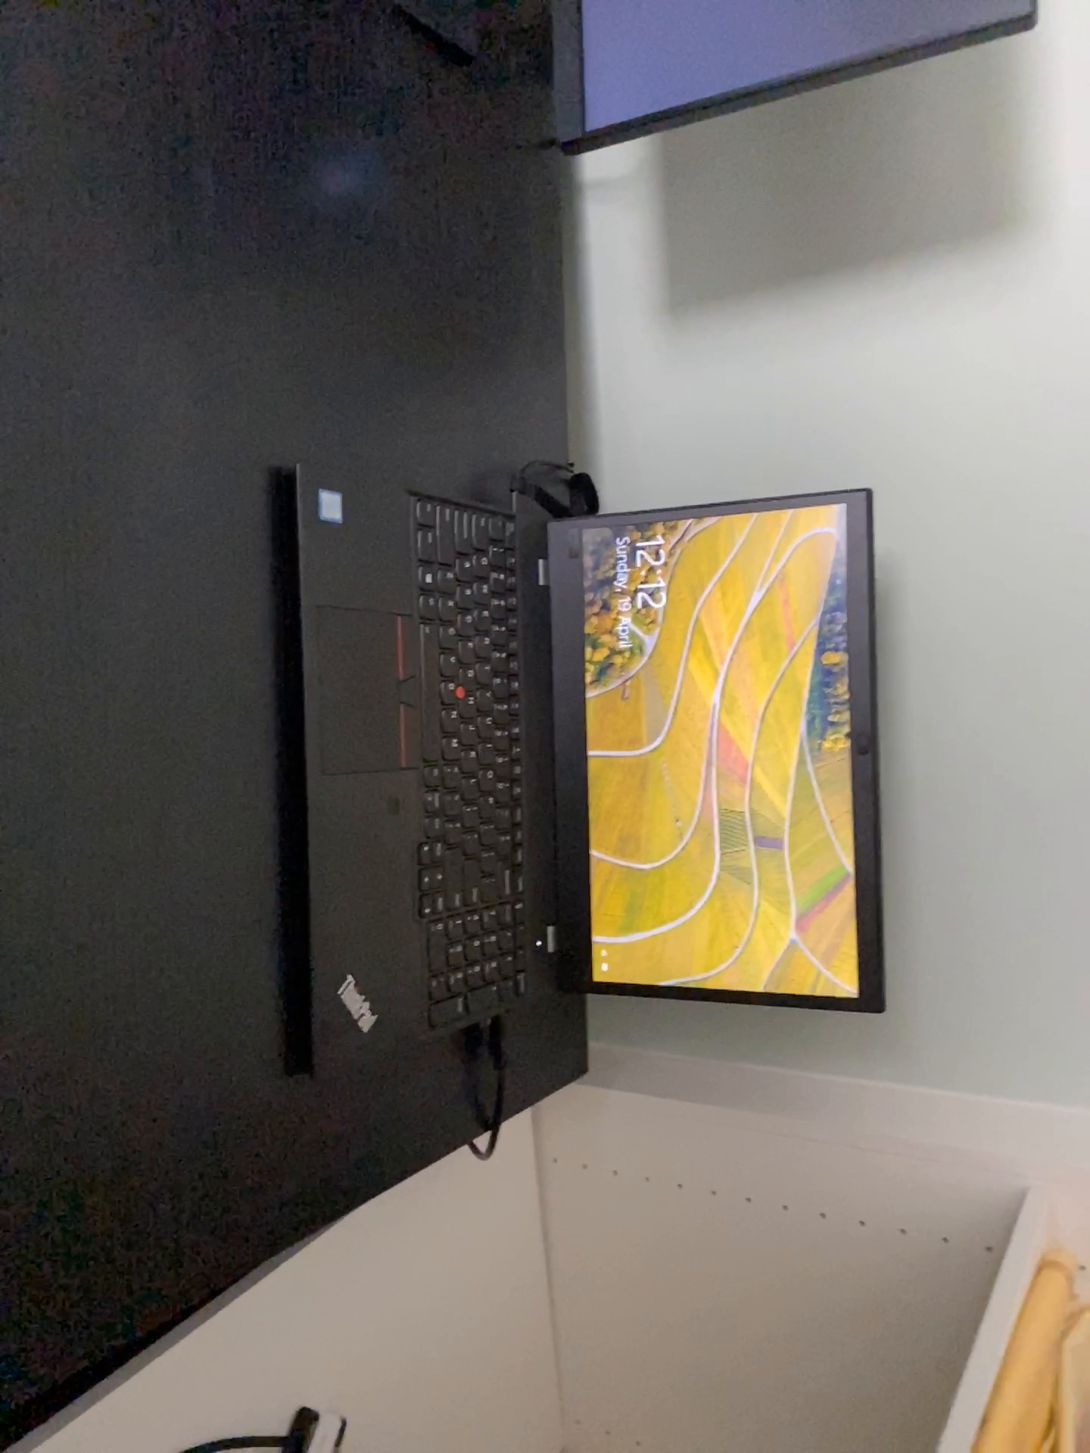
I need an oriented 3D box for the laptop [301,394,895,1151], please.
[{"bbox_3d":[0.049,0.023,0.696,0.295,0.231,0.351,-1,89,-56],"label":"laptop"}]
